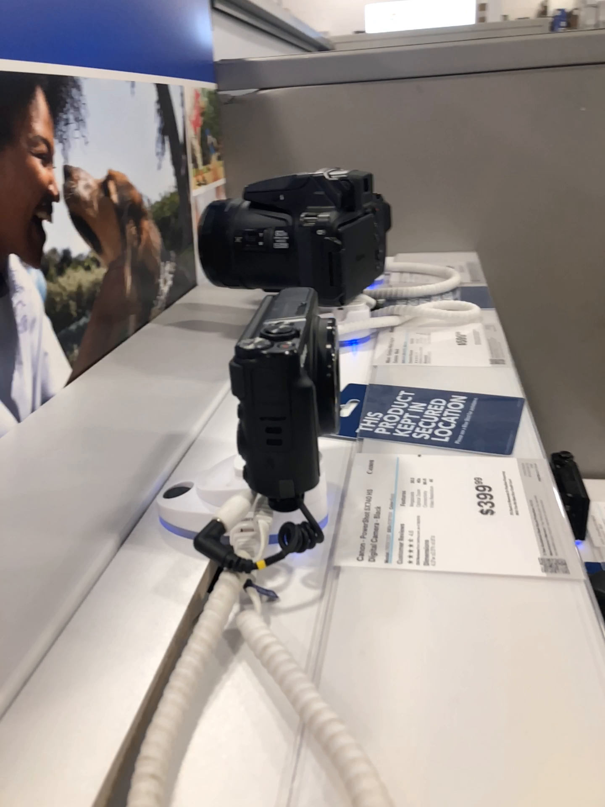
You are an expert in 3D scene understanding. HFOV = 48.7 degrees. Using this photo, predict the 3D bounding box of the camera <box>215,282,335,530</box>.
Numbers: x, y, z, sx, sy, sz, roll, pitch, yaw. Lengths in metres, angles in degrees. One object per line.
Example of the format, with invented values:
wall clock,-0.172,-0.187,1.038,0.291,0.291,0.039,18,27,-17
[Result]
camera,-0.006,-0.006,0.307,0.040,0.070,0.121,-2,23,4
